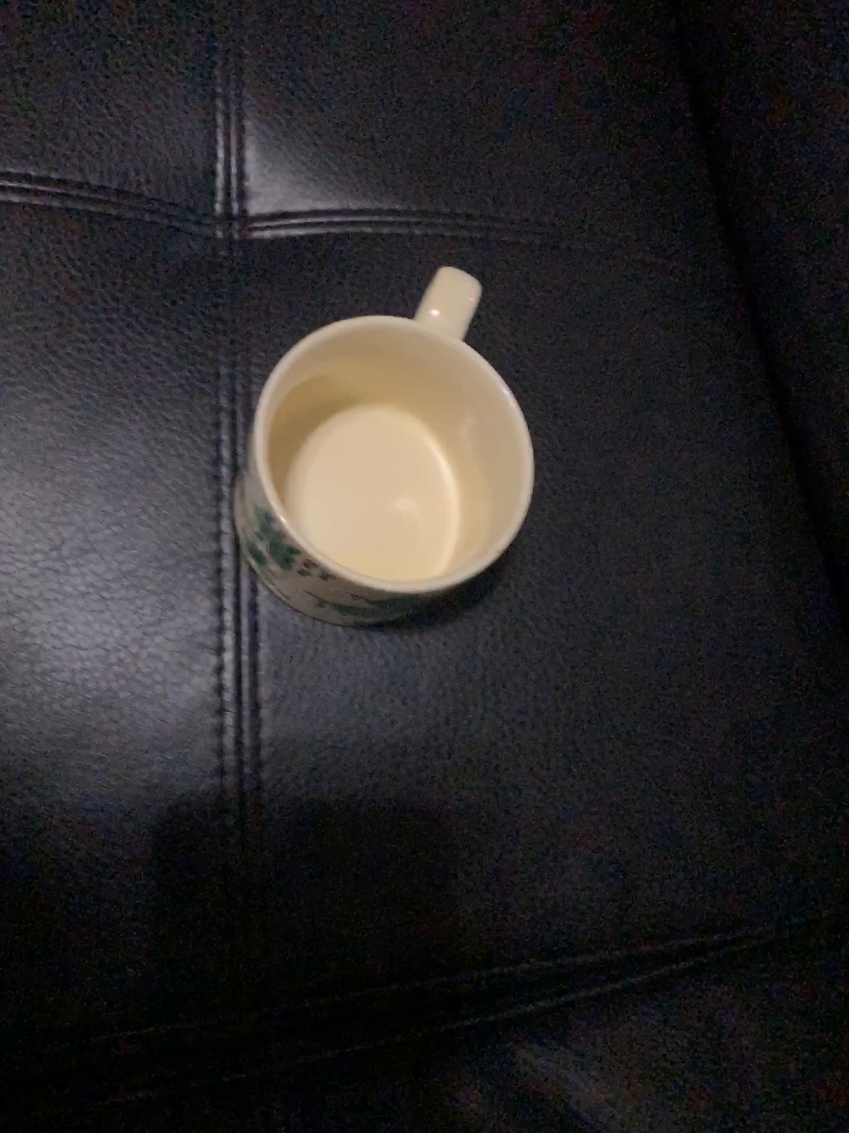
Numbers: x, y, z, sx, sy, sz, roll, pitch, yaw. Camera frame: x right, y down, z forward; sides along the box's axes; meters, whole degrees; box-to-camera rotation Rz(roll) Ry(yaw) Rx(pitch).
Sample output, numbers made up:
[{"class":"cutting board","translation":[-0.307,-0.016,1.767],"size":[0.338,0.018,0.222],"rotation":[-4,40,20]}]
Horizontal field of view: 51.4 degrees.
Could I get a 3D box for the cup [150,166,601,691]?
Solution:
[{"class":"cup","translation":[-0.014,-0.039,0.269],"size":[0.090,0.060,0.119],"rotation":[25,66,-10]}]
